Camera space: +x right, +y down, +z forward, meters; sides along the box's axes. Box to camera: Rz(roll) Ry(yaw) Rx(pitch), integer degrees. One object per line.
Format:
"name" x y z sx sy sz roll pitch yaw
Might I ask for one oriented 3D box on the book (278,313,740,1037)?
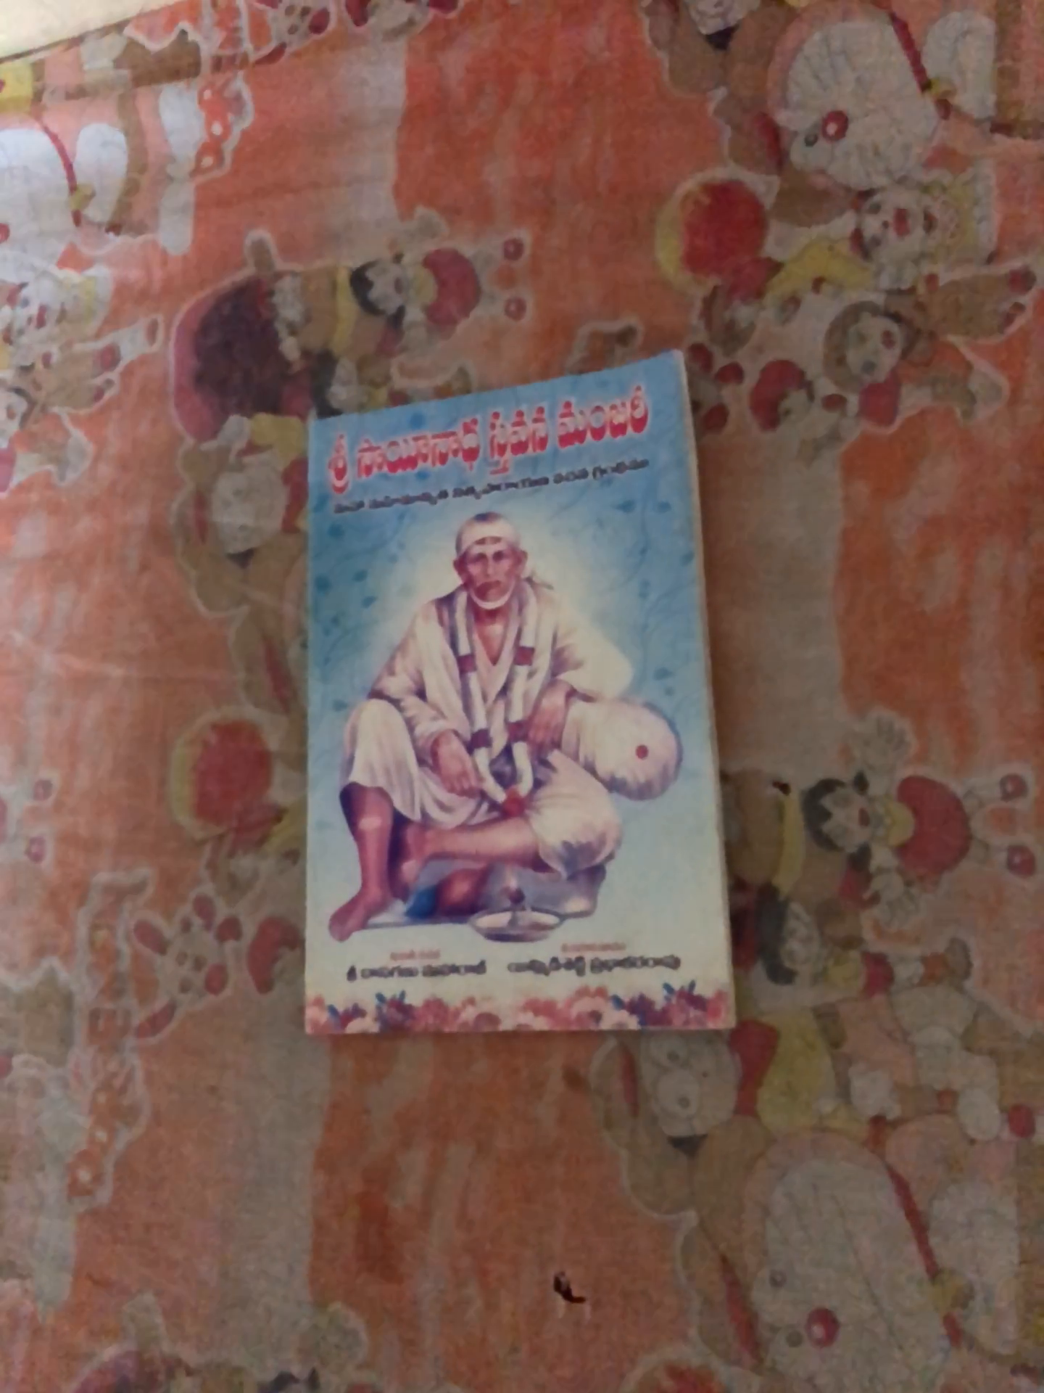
"book" -0.009 -0.006 0.376 0.140 0.020 0.220 -5 80 13
